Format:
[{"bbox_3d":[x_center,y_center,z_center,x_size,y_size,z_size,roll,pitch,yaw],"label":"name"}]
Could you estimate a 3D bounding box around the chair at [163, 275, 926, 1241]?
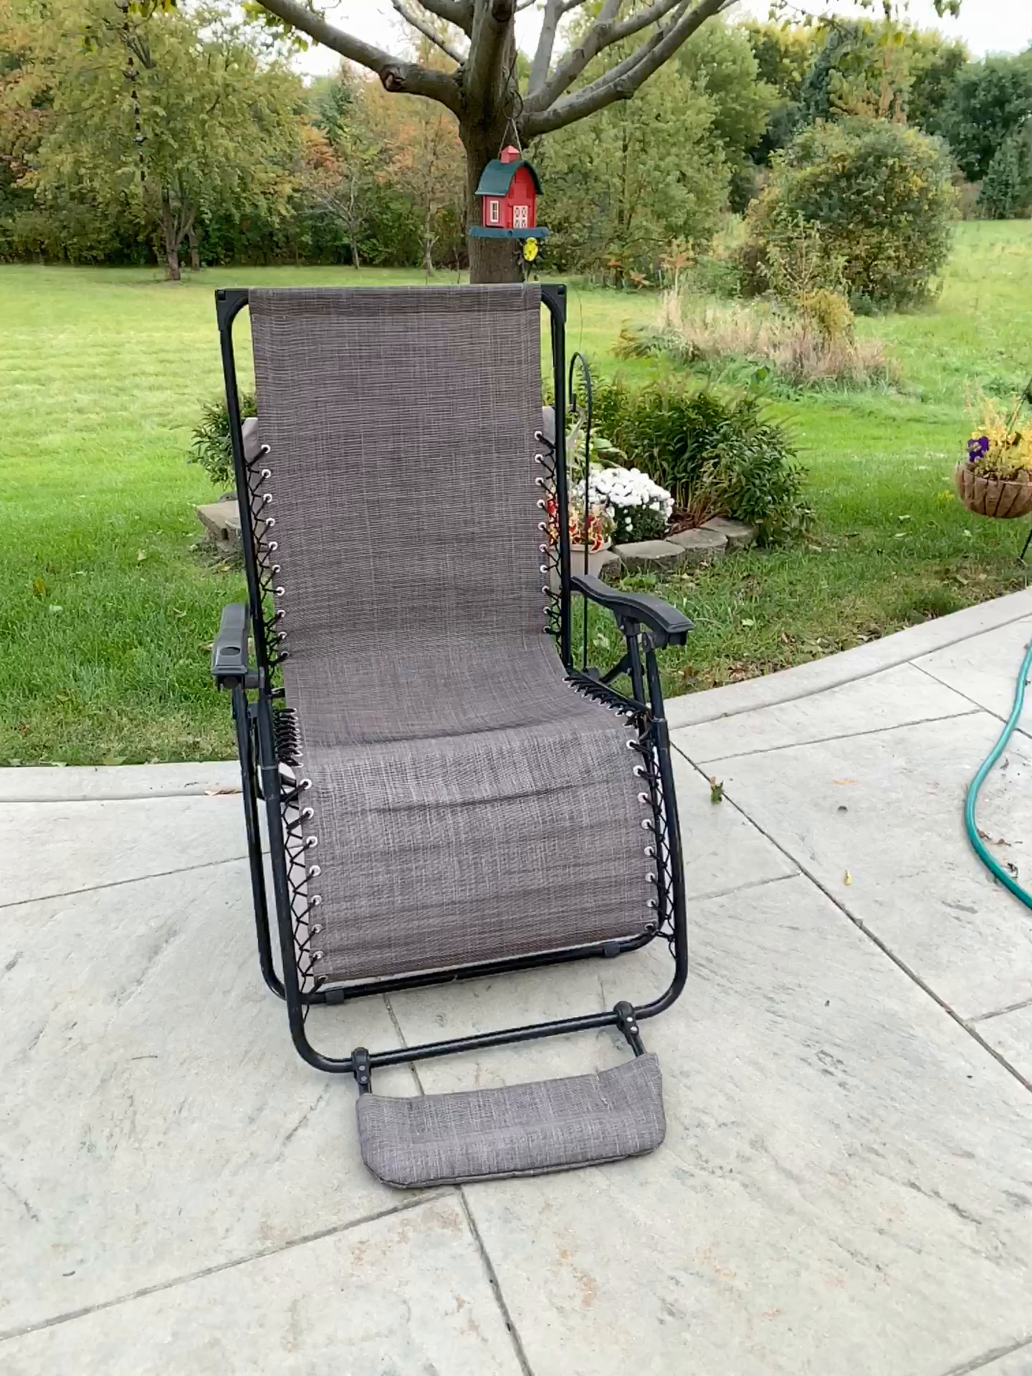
[{"bbox_3d":[-0.094,-0.050,1.710,0.742,1.056,1.152,-5,27,-13],"label":"chair"}]
